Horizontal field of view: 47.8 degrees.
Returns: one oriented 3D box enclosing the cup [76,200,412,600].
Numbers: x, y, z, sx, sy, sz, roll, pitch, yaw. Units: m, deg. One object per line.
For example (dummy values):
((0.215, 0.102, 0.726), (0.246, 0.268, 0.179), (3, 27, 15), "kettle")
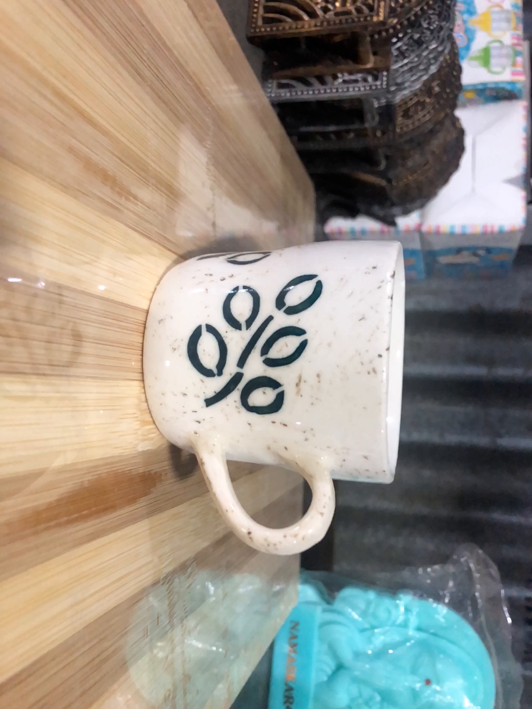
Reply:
((0.006, 0.016, 0.181), (0.080, 0.070, 0.090), (69, 26, -58), "cup")
